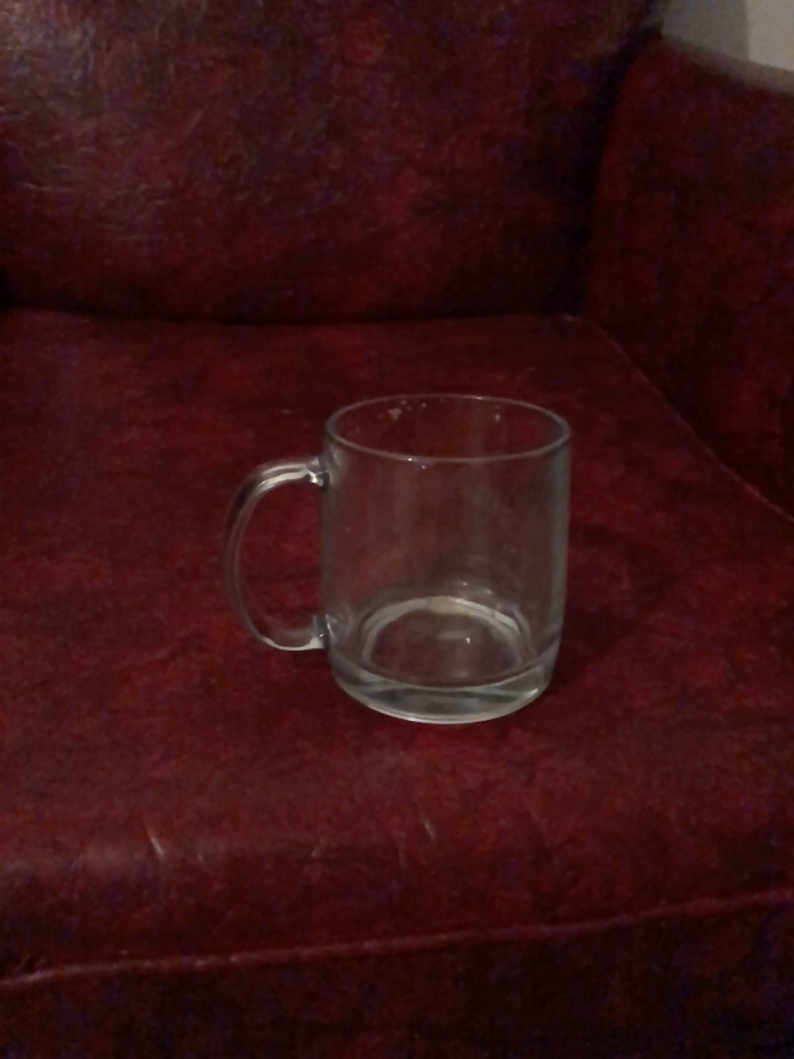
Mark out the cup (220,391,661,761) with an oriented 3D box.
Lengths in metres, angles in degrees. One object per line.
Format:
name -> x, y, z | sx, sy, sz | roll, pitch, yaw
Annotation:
cup -> 0.007, 0.009, 0.308 | 0.128, 0.089, 0.090 | -4, 23, -11
